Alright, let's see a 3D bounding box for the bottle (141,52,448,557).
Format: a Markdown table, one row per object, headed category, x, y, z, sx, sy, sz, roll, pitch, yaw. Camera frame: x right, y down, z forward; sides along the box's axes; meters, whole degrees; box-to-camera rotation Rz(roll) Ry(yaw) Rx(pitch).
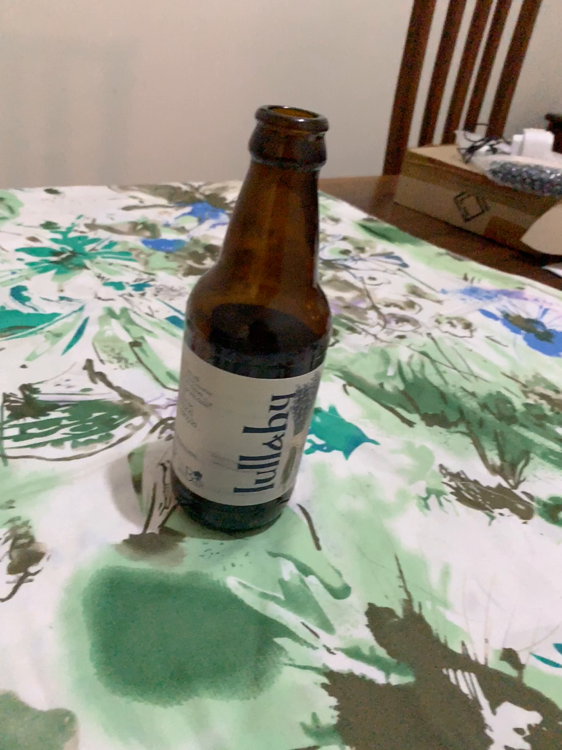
| category | x | y | z | sx | sy | sz | roll | pitch | yaw |
| --- | --- | --- | --- | --- | --- | --- | --- | --- | --- |
| bottle | -0.009 | -0.022 | 0.240 | 0.070 | 0.179 | 0.070 | 8 | 32 | -5 |
